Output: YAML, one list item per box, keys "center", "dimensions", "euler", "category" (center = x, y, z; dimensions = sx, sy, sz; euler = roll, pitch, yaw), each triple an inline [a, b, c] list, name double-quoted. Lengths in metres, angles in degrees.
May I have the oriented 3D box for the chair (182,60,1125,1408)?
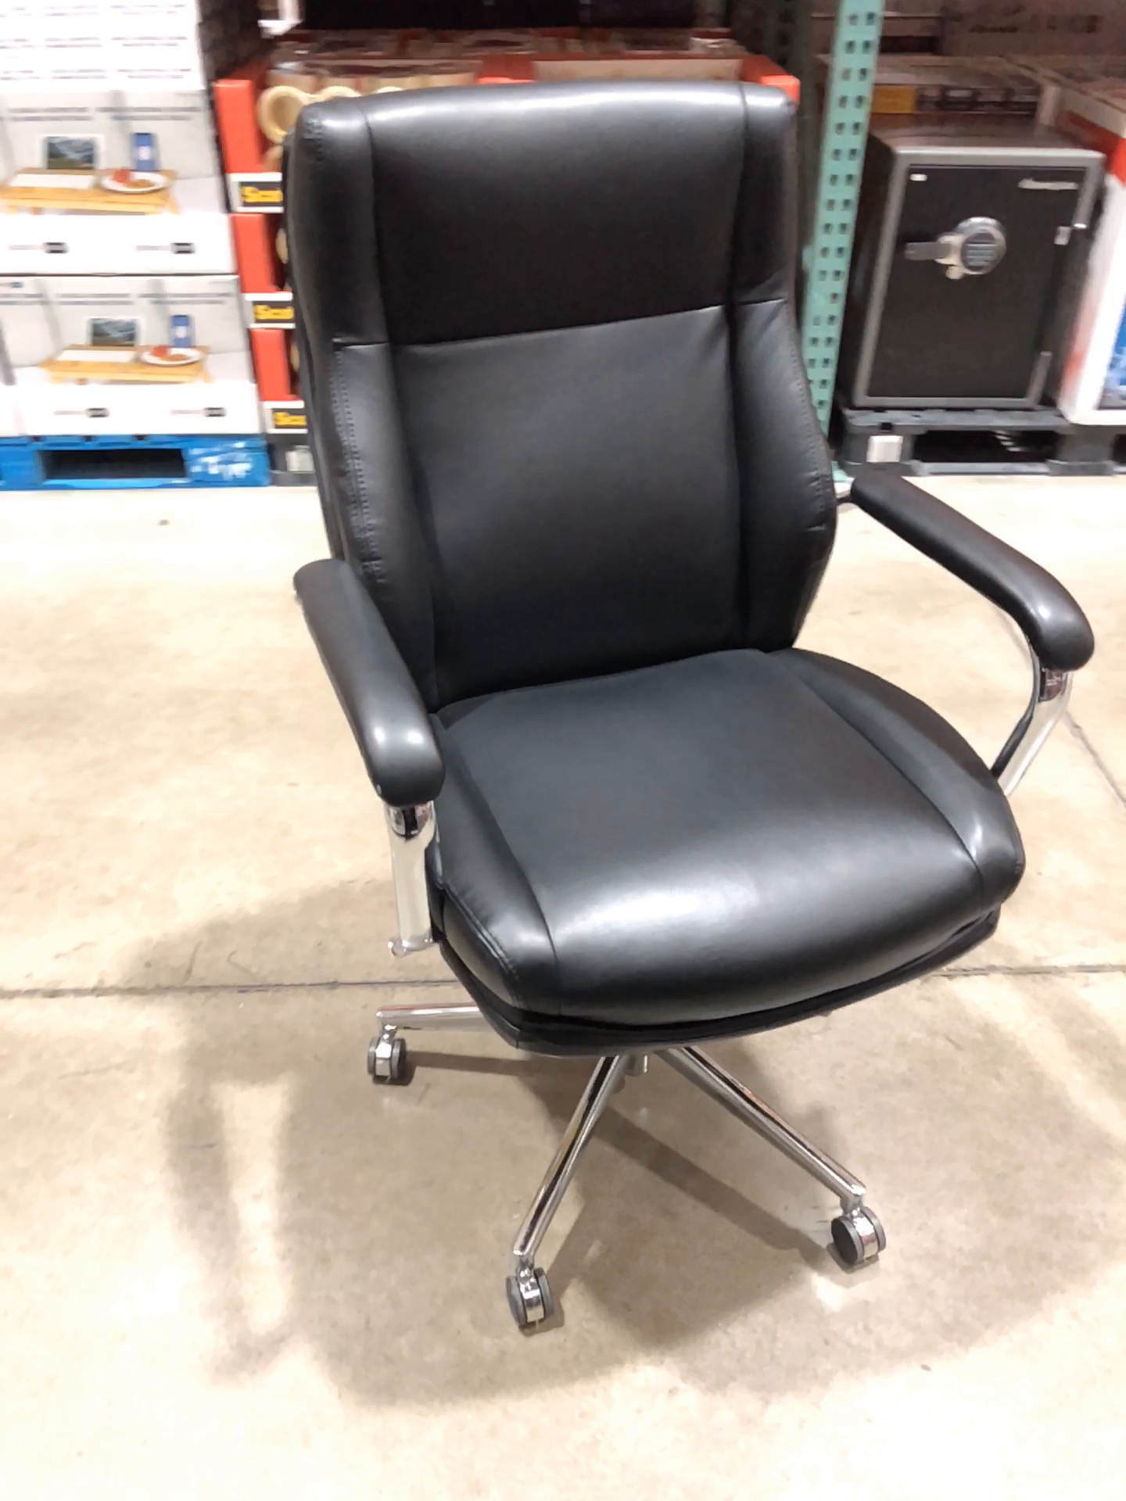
- center: [0.089, -0.049, 1.247]
  dimensions: [0.710, 1.045, 0.703]
  euler: [-10, 36, -14]
  category: "chair"
